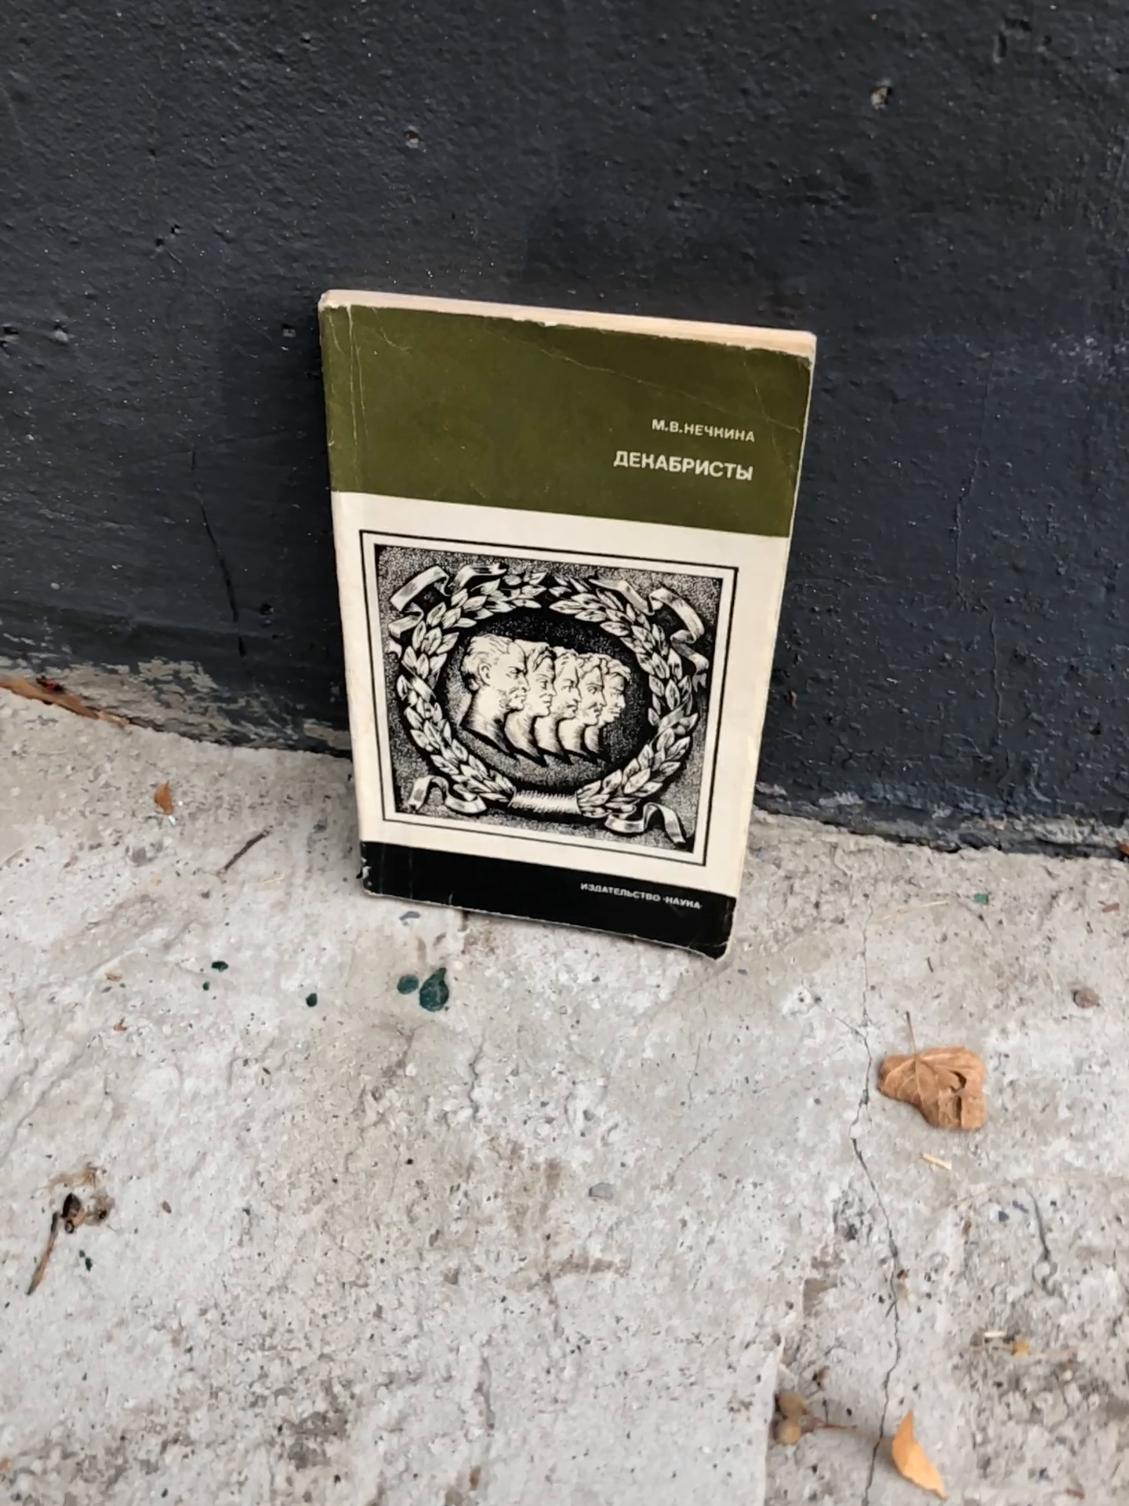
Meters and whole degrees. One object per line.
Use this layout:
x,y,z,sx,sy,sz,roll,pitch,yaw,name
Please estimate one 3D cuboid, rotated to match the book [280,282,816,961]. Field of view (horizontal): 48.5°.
-0.008,-0.027,0.327,0.120,0.169,0.020,8,31,8,book
